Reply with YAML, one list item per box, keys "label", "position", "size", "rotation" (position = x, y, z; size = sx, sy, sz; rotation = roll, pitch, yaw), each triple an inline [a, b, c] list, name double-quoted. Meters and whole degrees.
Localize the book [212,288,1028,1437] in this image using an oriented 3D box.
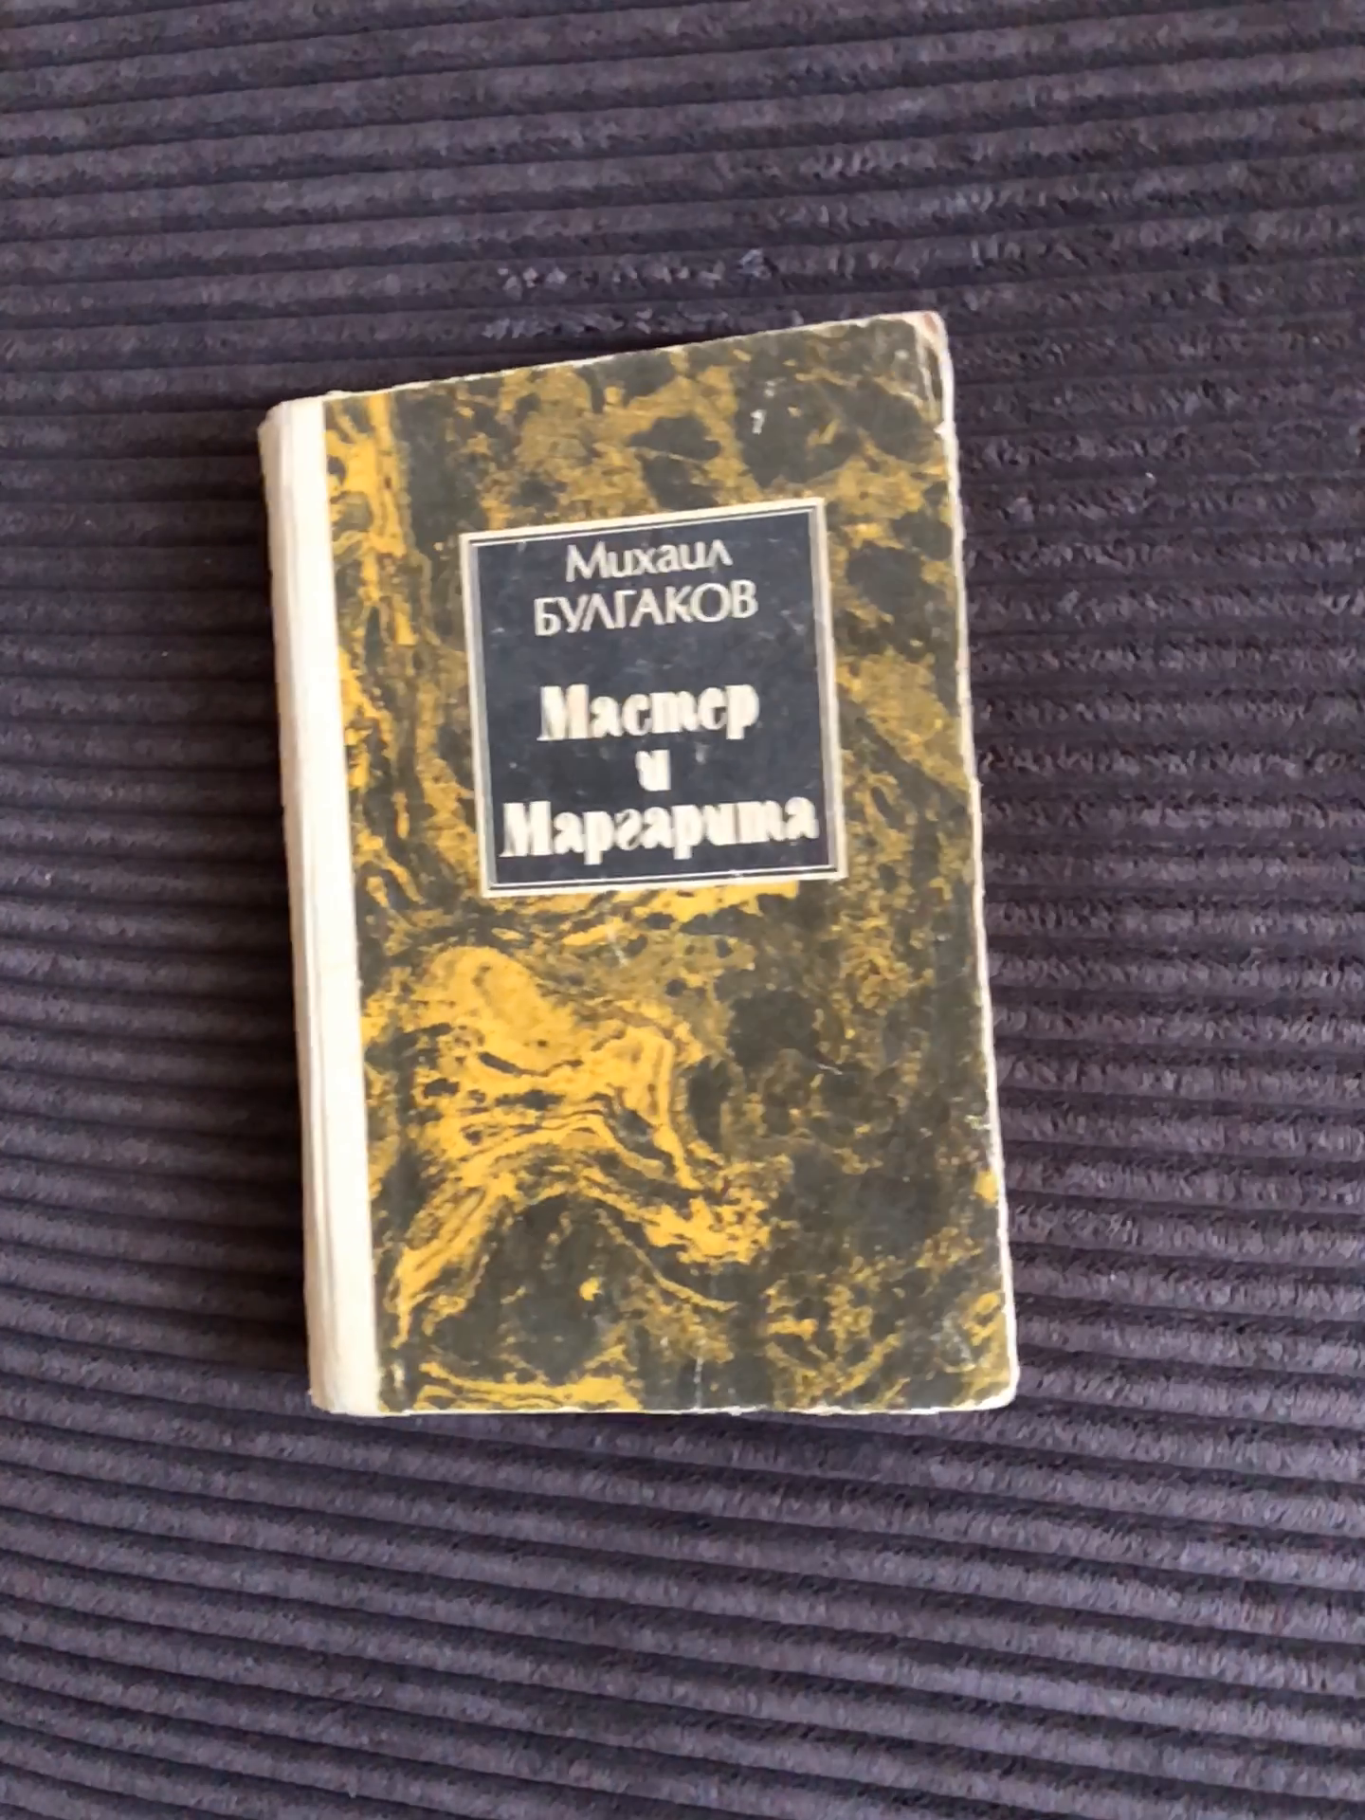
- label: "book"
  position: [-0.015, -0.006, 0.320]
  size: [0.154, 0.035, 0.220]
  rotation: [-5, 86, 11]
